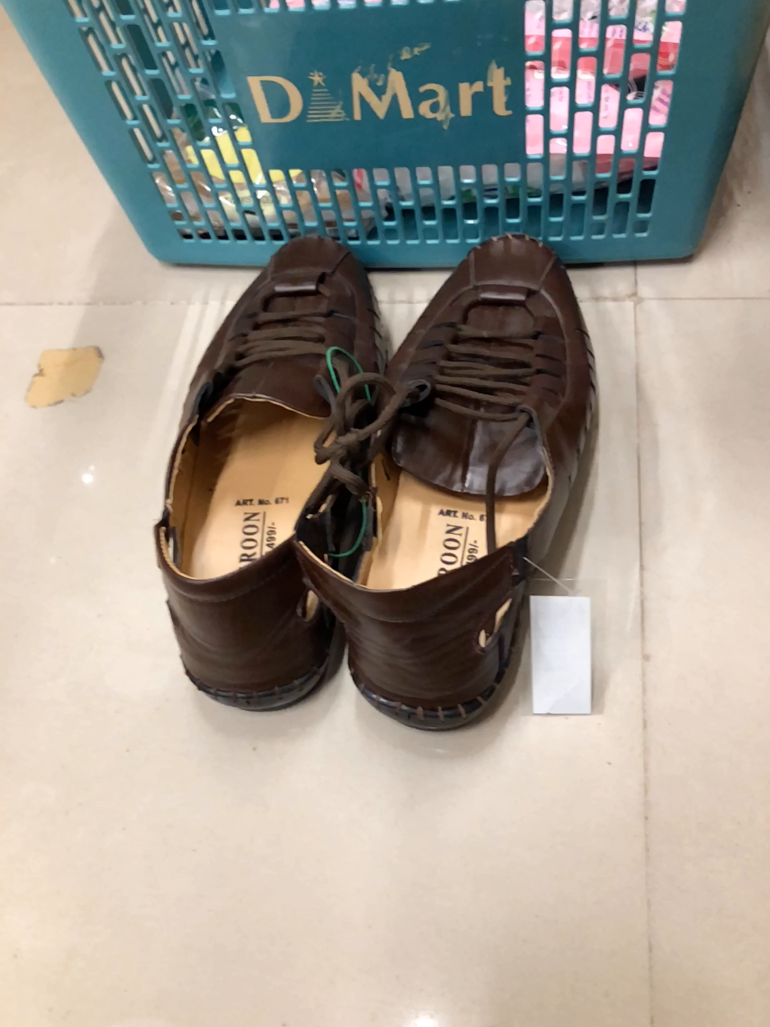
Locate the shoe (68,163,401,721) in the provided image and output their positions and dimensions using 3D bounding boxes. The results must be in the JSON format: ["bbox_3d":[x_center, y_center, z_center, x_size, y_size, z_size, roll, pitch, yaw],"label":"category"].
[{"bbox_3d":[-0.057,-0.043,0.437,0.106,0.101,0.273,-2,58,9],"label":"shoe"}]

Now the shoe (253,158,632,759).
[{"bbox_3d":[0.044,-0.040,0.416,0.112,0.101,0.273,8,61,15],"label":"shoe"}]
